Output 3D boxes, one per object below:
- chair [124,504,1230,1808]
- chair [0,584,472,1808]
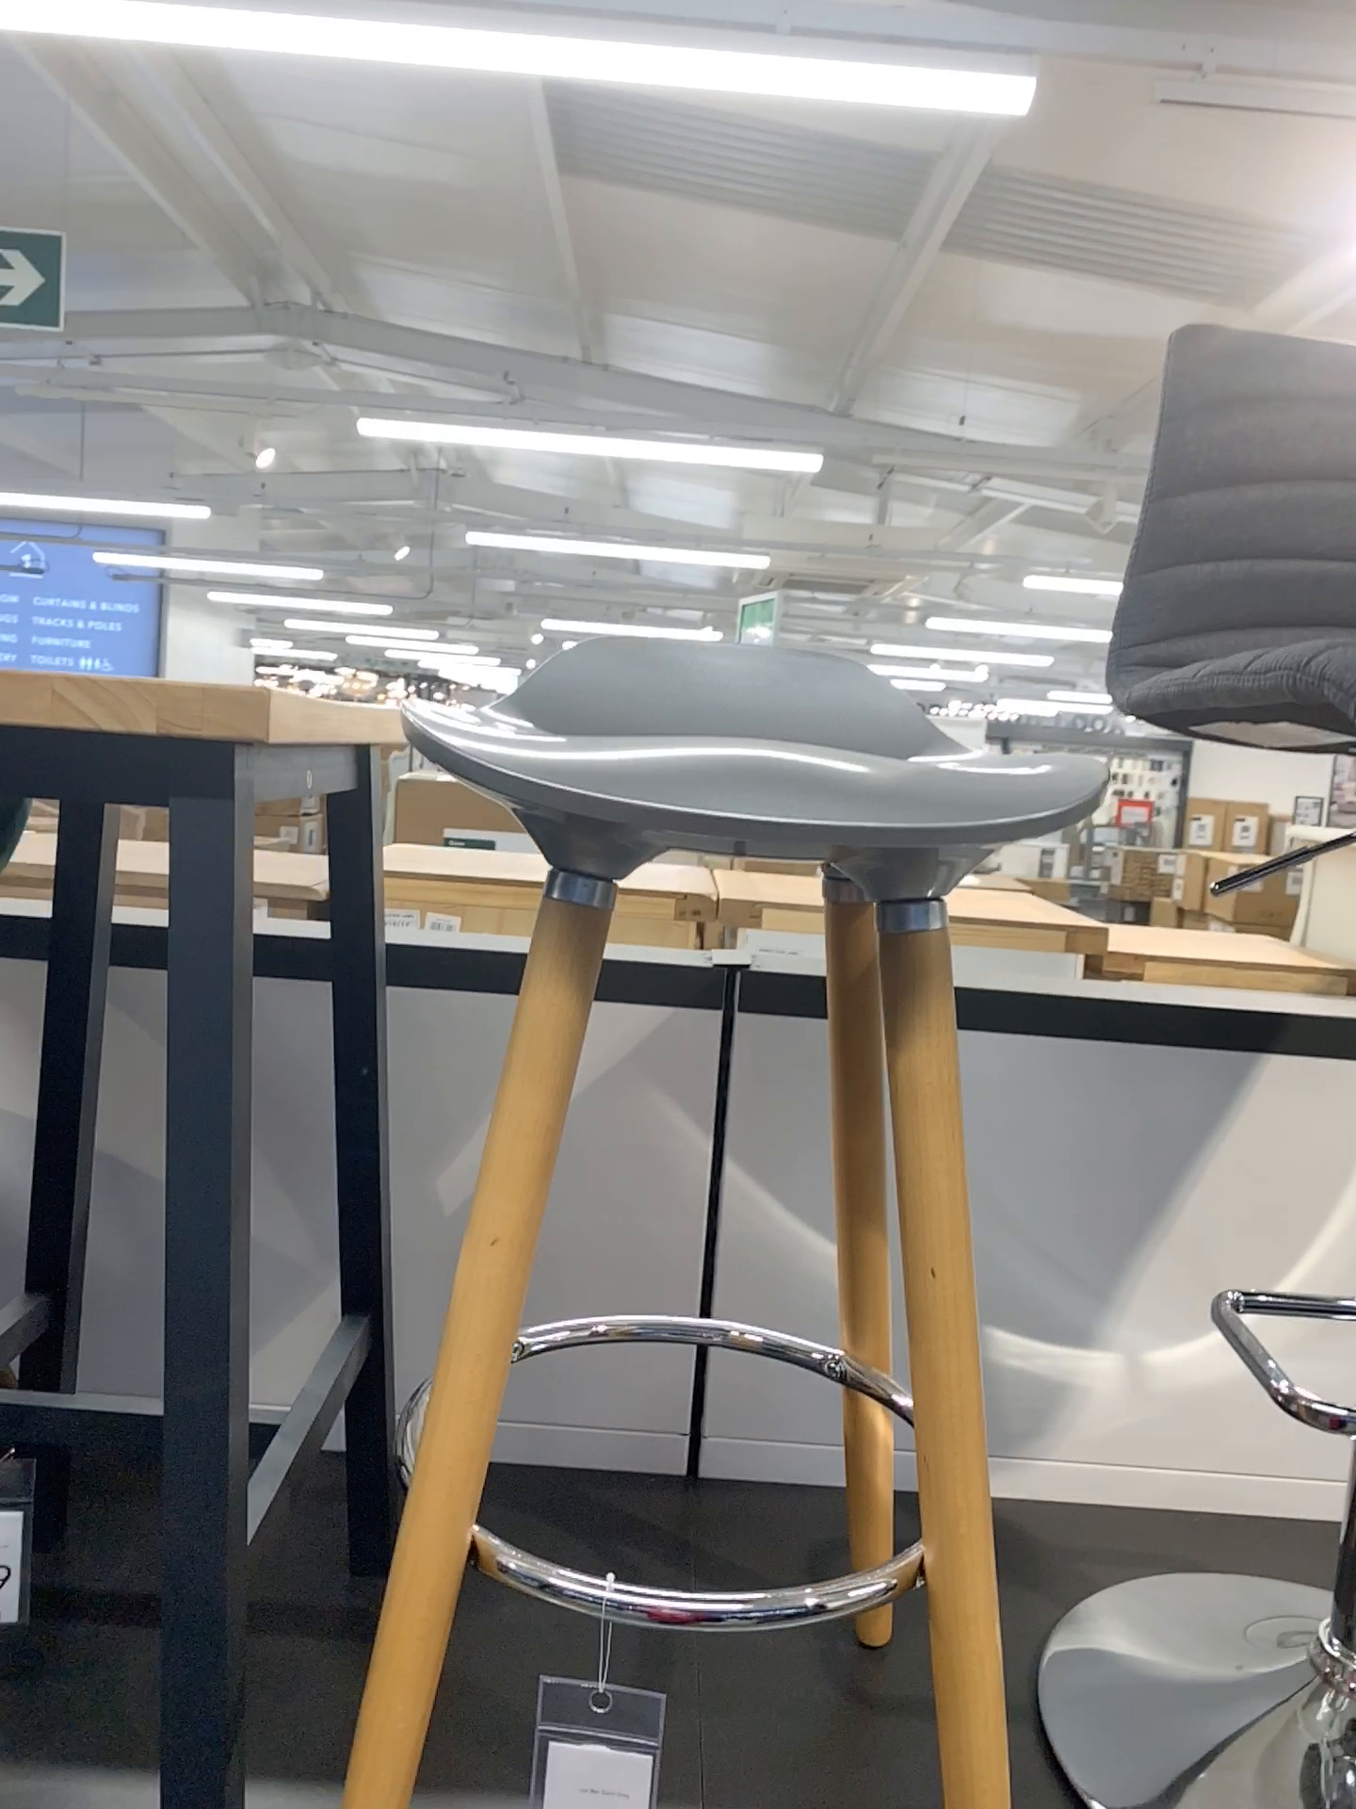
[{"bbox_3d":[-0.013,0.187,0.855,0.442,0.739,0.462,4,5,-1],"label":"chair"},{"bbox_3d":[-0.404,0.192,0.883,0.442,0.689,0.502,4,6,-2],"label":"chair"}]
